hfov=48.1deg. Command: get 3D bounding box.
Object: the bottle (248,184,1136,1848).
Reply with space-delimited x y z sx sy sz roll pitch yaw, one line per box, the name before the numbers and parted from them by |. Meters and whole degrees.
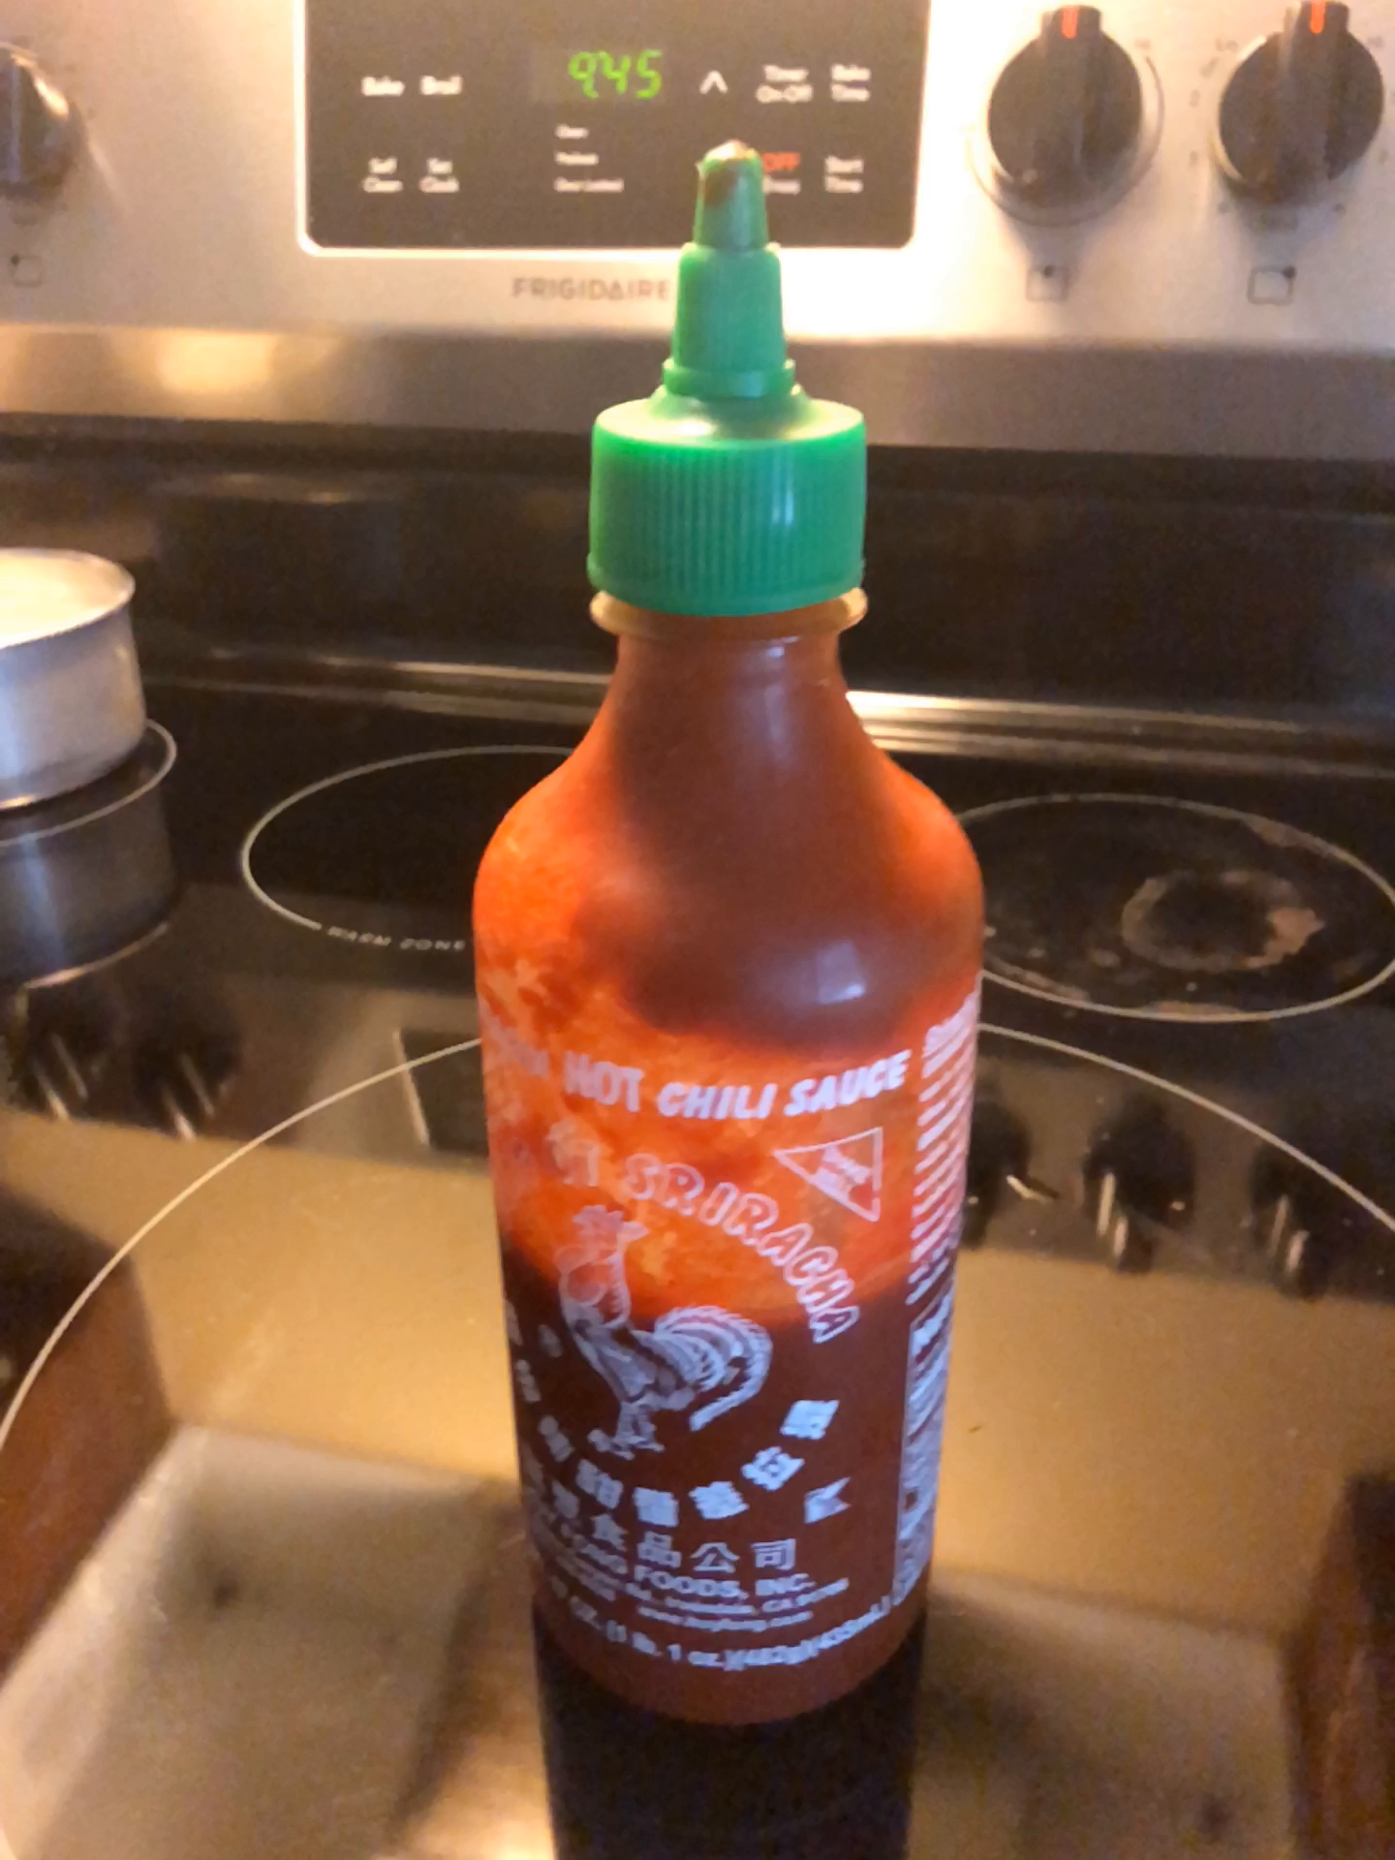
bottle | 0.006 0.014 0.205 0.070 0.199 0.070 -1 27 0
